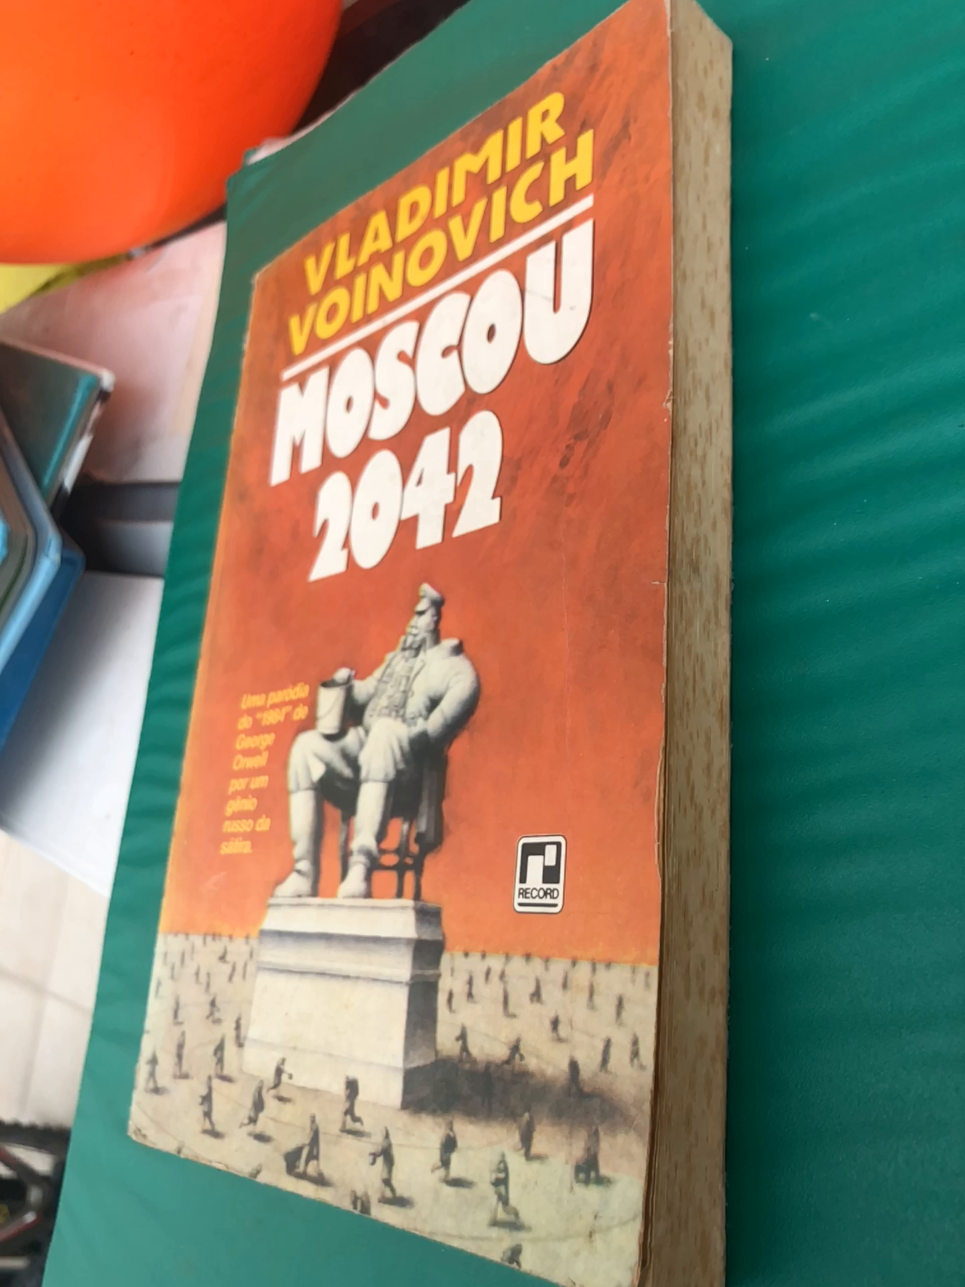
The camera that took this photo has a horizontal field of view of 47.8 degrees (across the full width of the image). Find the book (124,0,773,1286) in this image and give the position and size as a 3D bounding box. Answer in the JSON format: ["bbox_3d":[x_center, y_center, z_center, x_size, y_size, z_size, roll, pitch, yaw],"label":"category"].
[{"bbox_3d":[-0.011,-0.006,0.207,0.132,0.020,0.203,-12,67,43],"label":"book"}]
